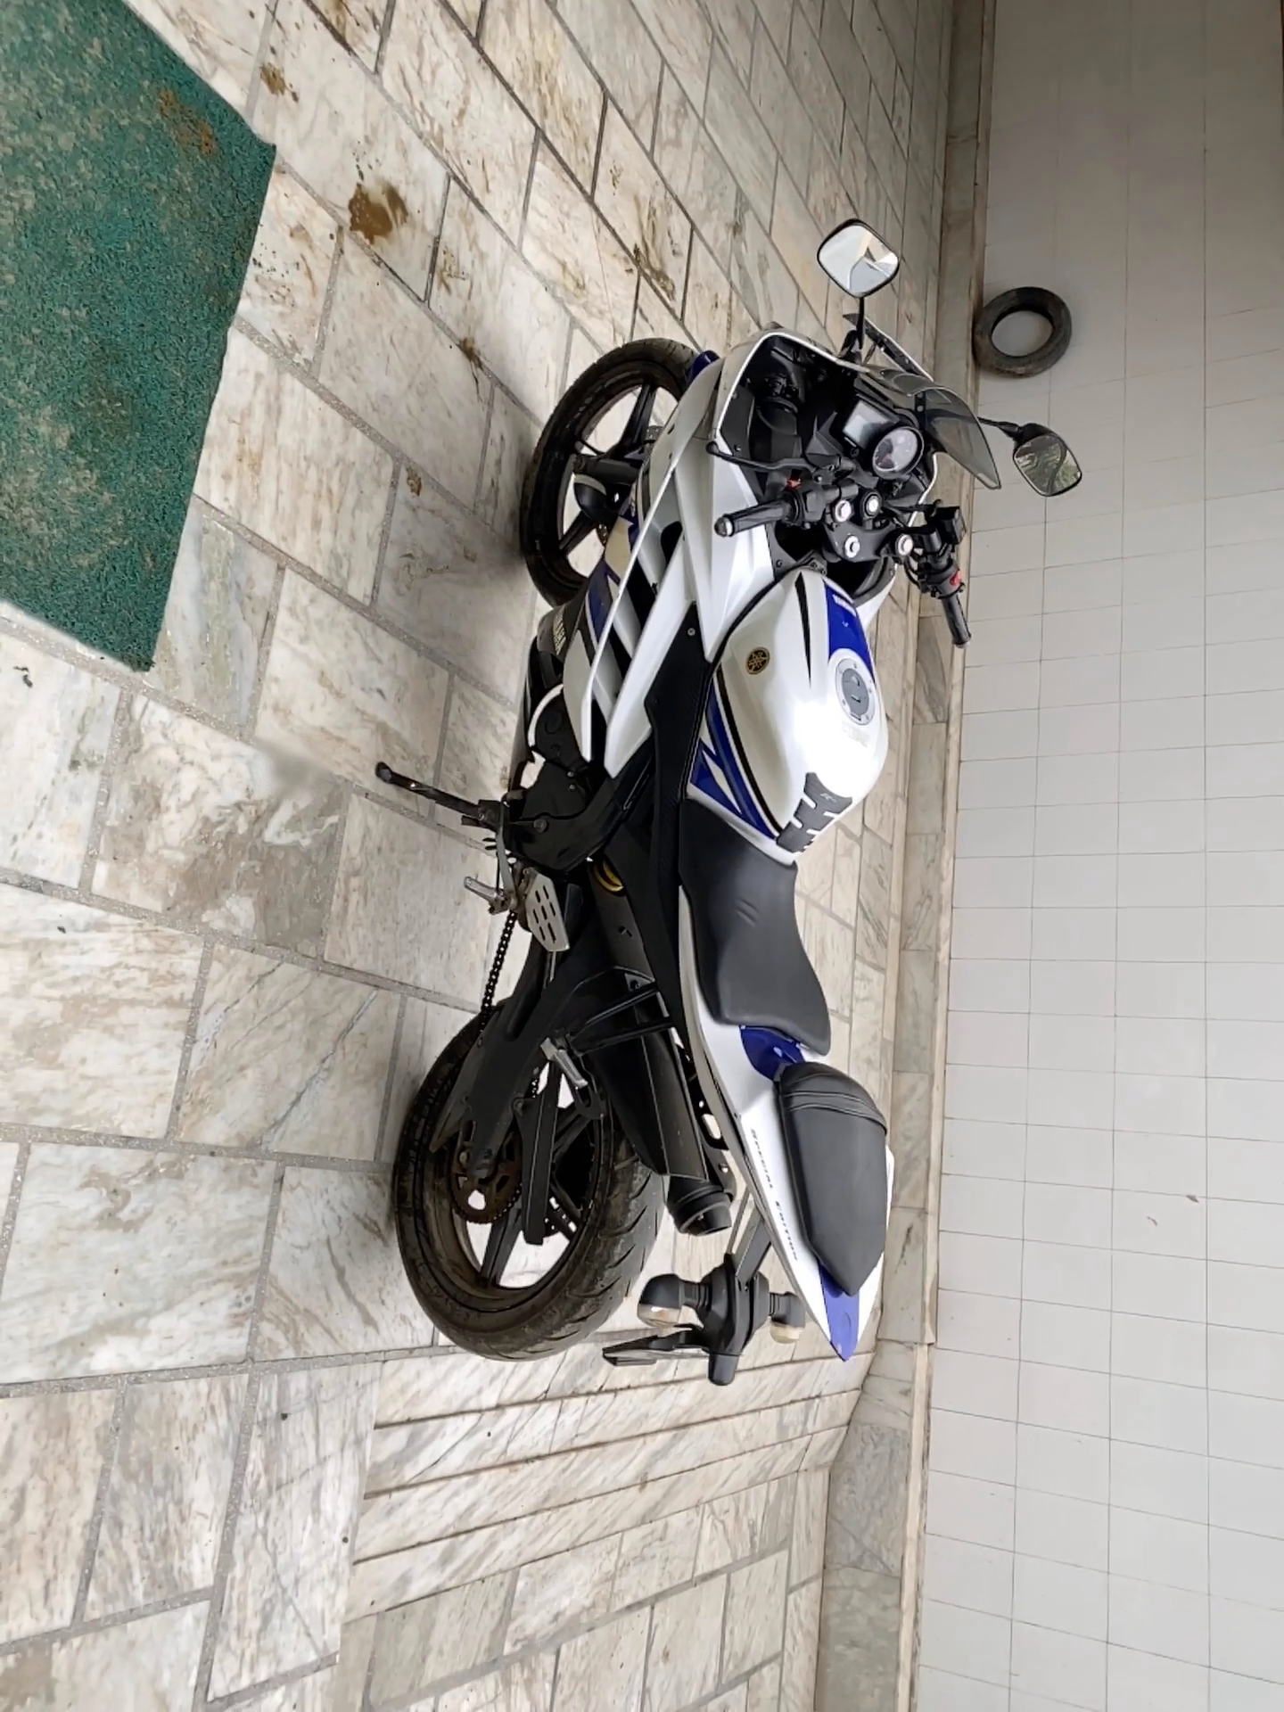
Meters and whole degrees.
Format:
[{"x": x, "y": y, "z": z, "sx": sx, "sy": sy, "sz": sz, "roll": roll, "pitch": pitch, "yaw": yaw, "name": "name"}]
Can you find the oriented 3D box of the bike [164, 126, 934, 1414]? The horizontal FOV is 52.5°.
[{"x": -0.076, "y": -0.151, "z": 2.269, "sx": 0.737, "sy": 0.903, "sz": 1.881, "roll": 34, "pitch": 55, "yaw": -56, "name": "bike"}]
